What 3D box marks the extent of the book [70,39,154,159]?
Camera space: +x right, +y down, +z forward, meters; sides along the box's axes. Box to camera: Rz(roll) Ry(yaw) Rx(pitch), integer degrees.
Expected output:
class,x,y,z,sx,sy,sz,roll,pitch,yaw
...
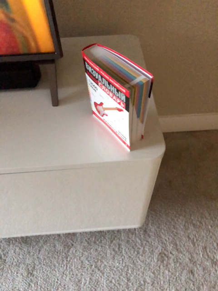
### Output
class,x,y,z,sx,sy,sz,roll,pitch,yaw
book,0.003,-0.087,0.483,0.060,0.179,0.150,-34,60,-22
